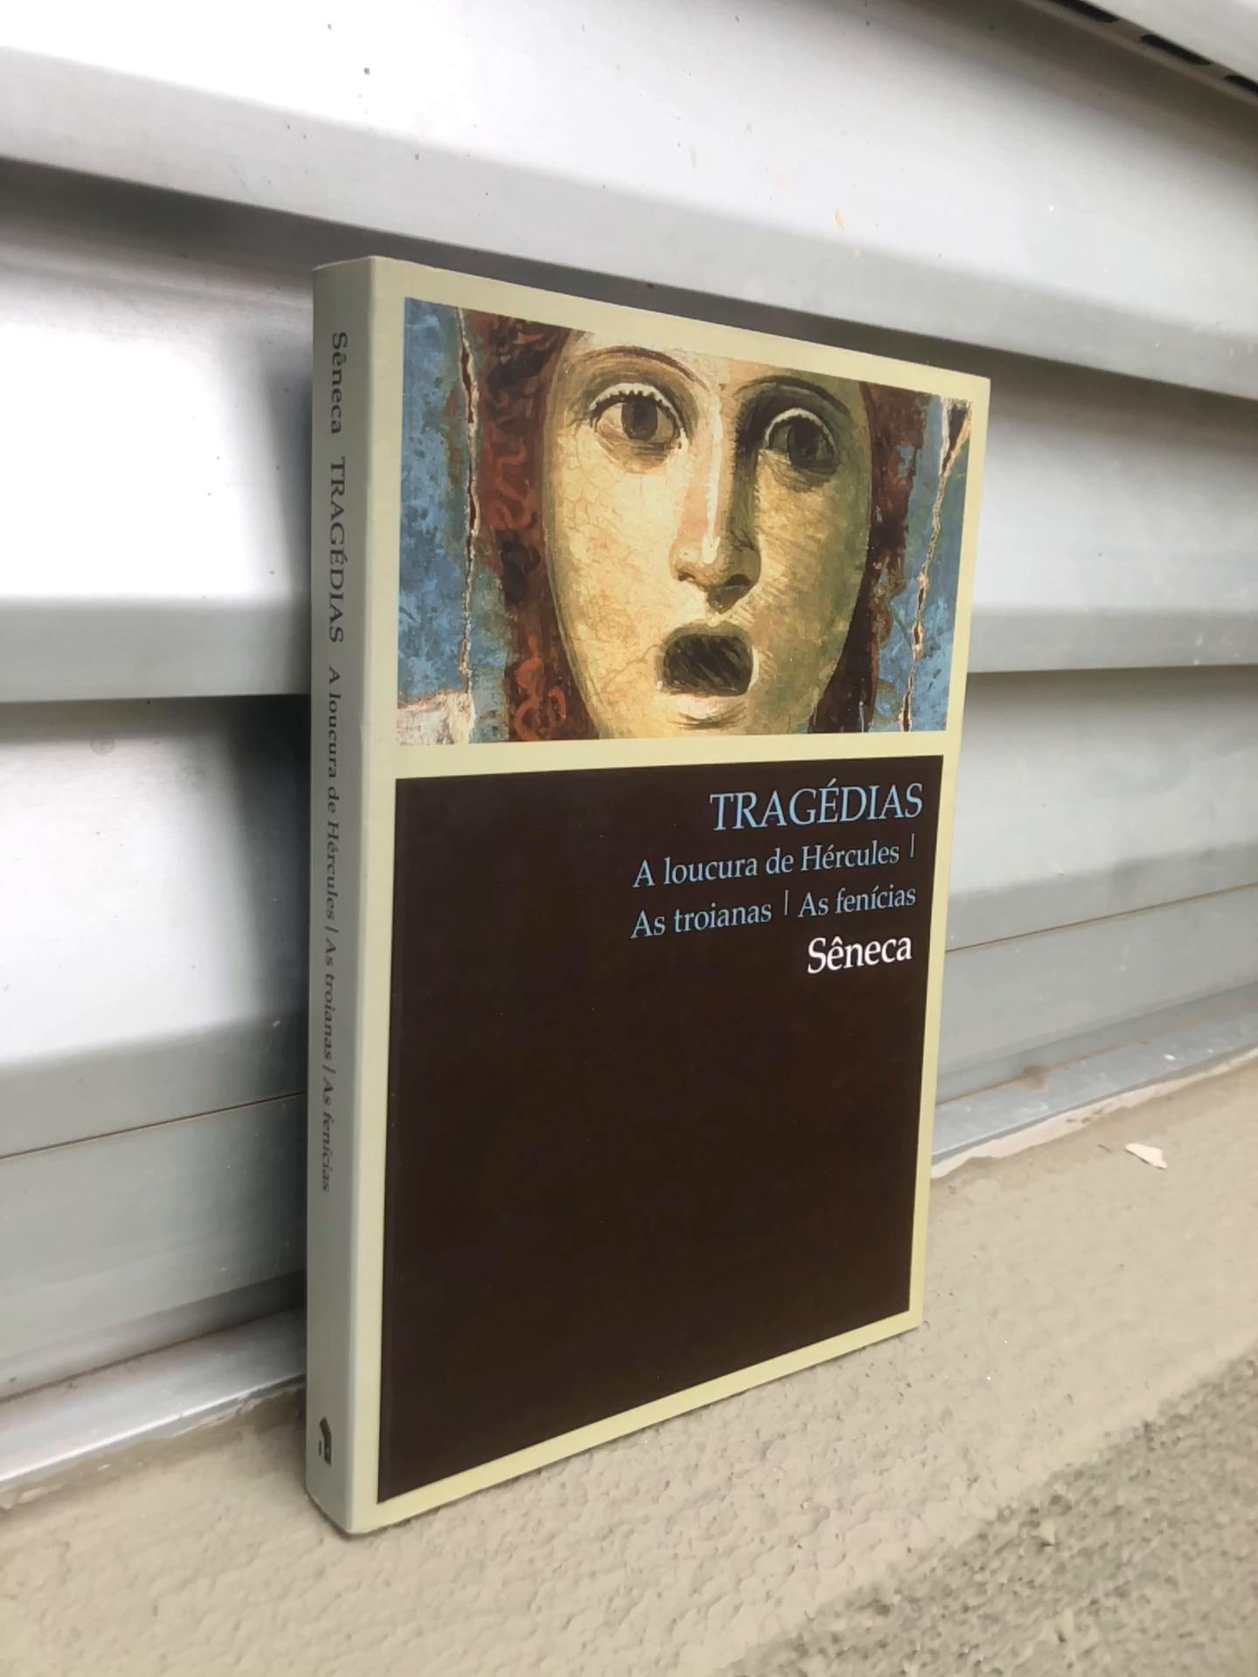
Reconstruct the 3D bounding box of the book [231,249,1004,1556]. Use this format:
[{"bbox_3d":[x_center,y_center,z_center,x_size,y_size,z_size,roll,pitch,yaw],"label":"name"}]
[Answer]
[{"bbox_3d":[0.005,0.009,0.258,0.145,0.197,0.026,-5,10,-33],"label":"book"}]
